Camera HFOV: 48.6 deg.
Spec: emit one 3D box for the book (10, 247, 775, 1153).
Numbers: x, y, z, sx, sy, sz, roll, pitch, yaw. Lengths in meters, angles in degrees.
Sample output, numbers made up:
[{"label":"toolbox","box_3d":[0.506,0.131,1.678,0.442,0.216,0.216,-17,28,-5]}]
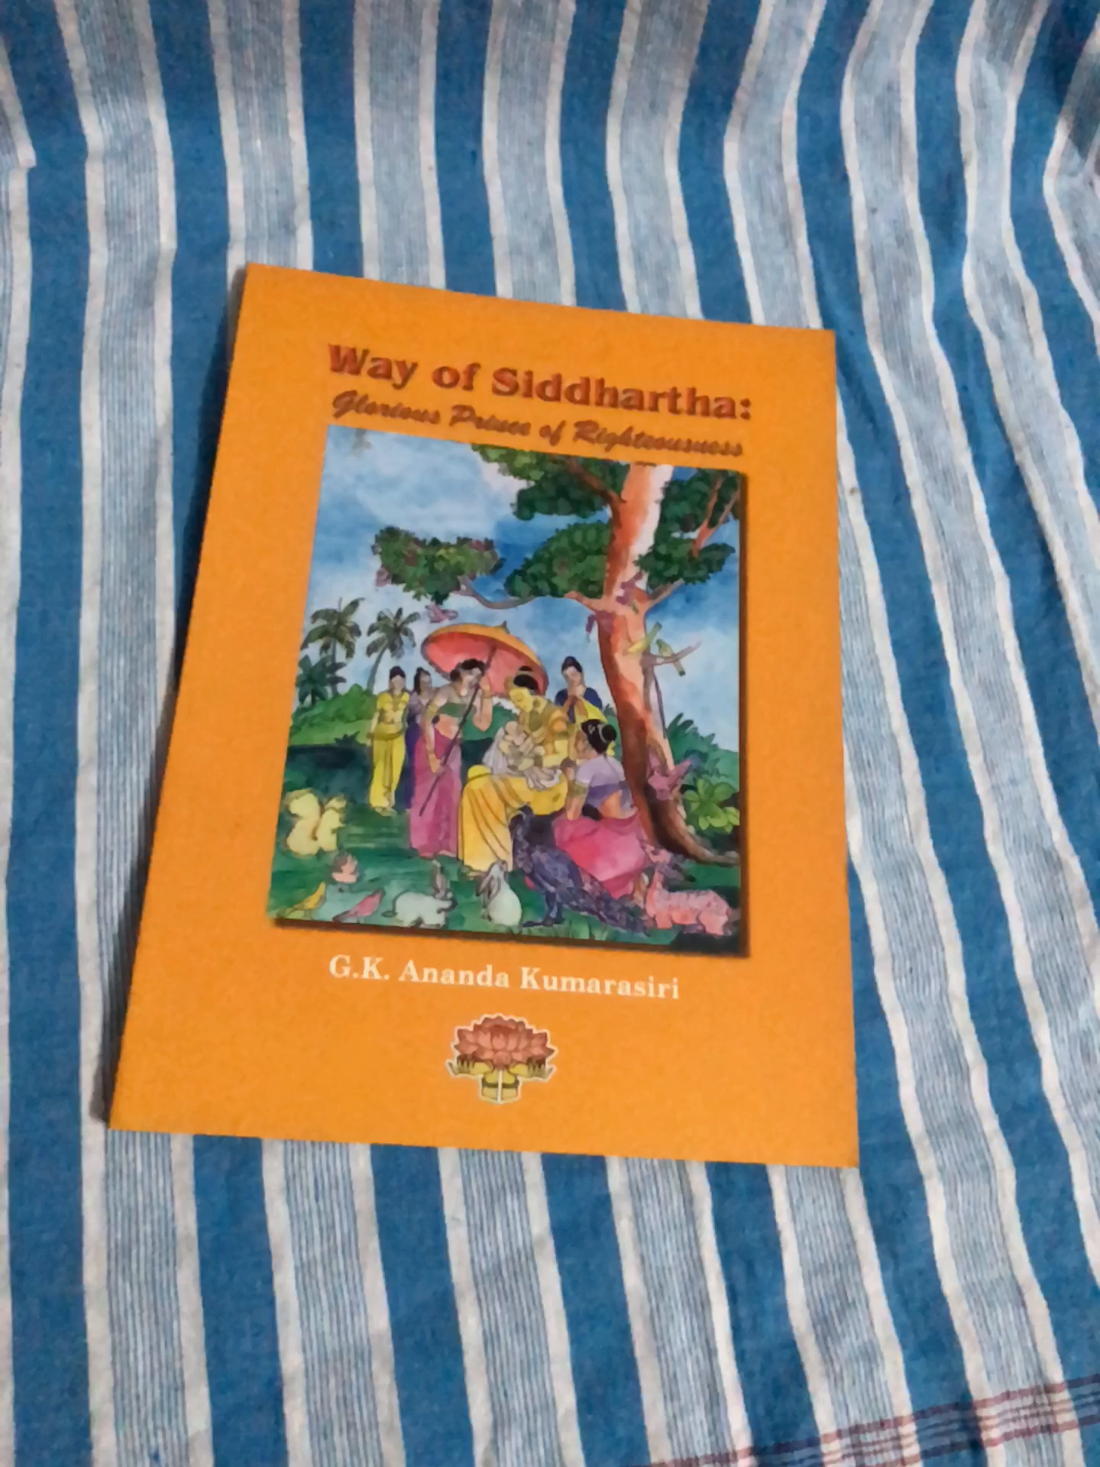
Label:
[{"label":"book","box_3d":[-0.028,-0.016,0.315,0.170,0.010,0.230,5,71,-8]}]
